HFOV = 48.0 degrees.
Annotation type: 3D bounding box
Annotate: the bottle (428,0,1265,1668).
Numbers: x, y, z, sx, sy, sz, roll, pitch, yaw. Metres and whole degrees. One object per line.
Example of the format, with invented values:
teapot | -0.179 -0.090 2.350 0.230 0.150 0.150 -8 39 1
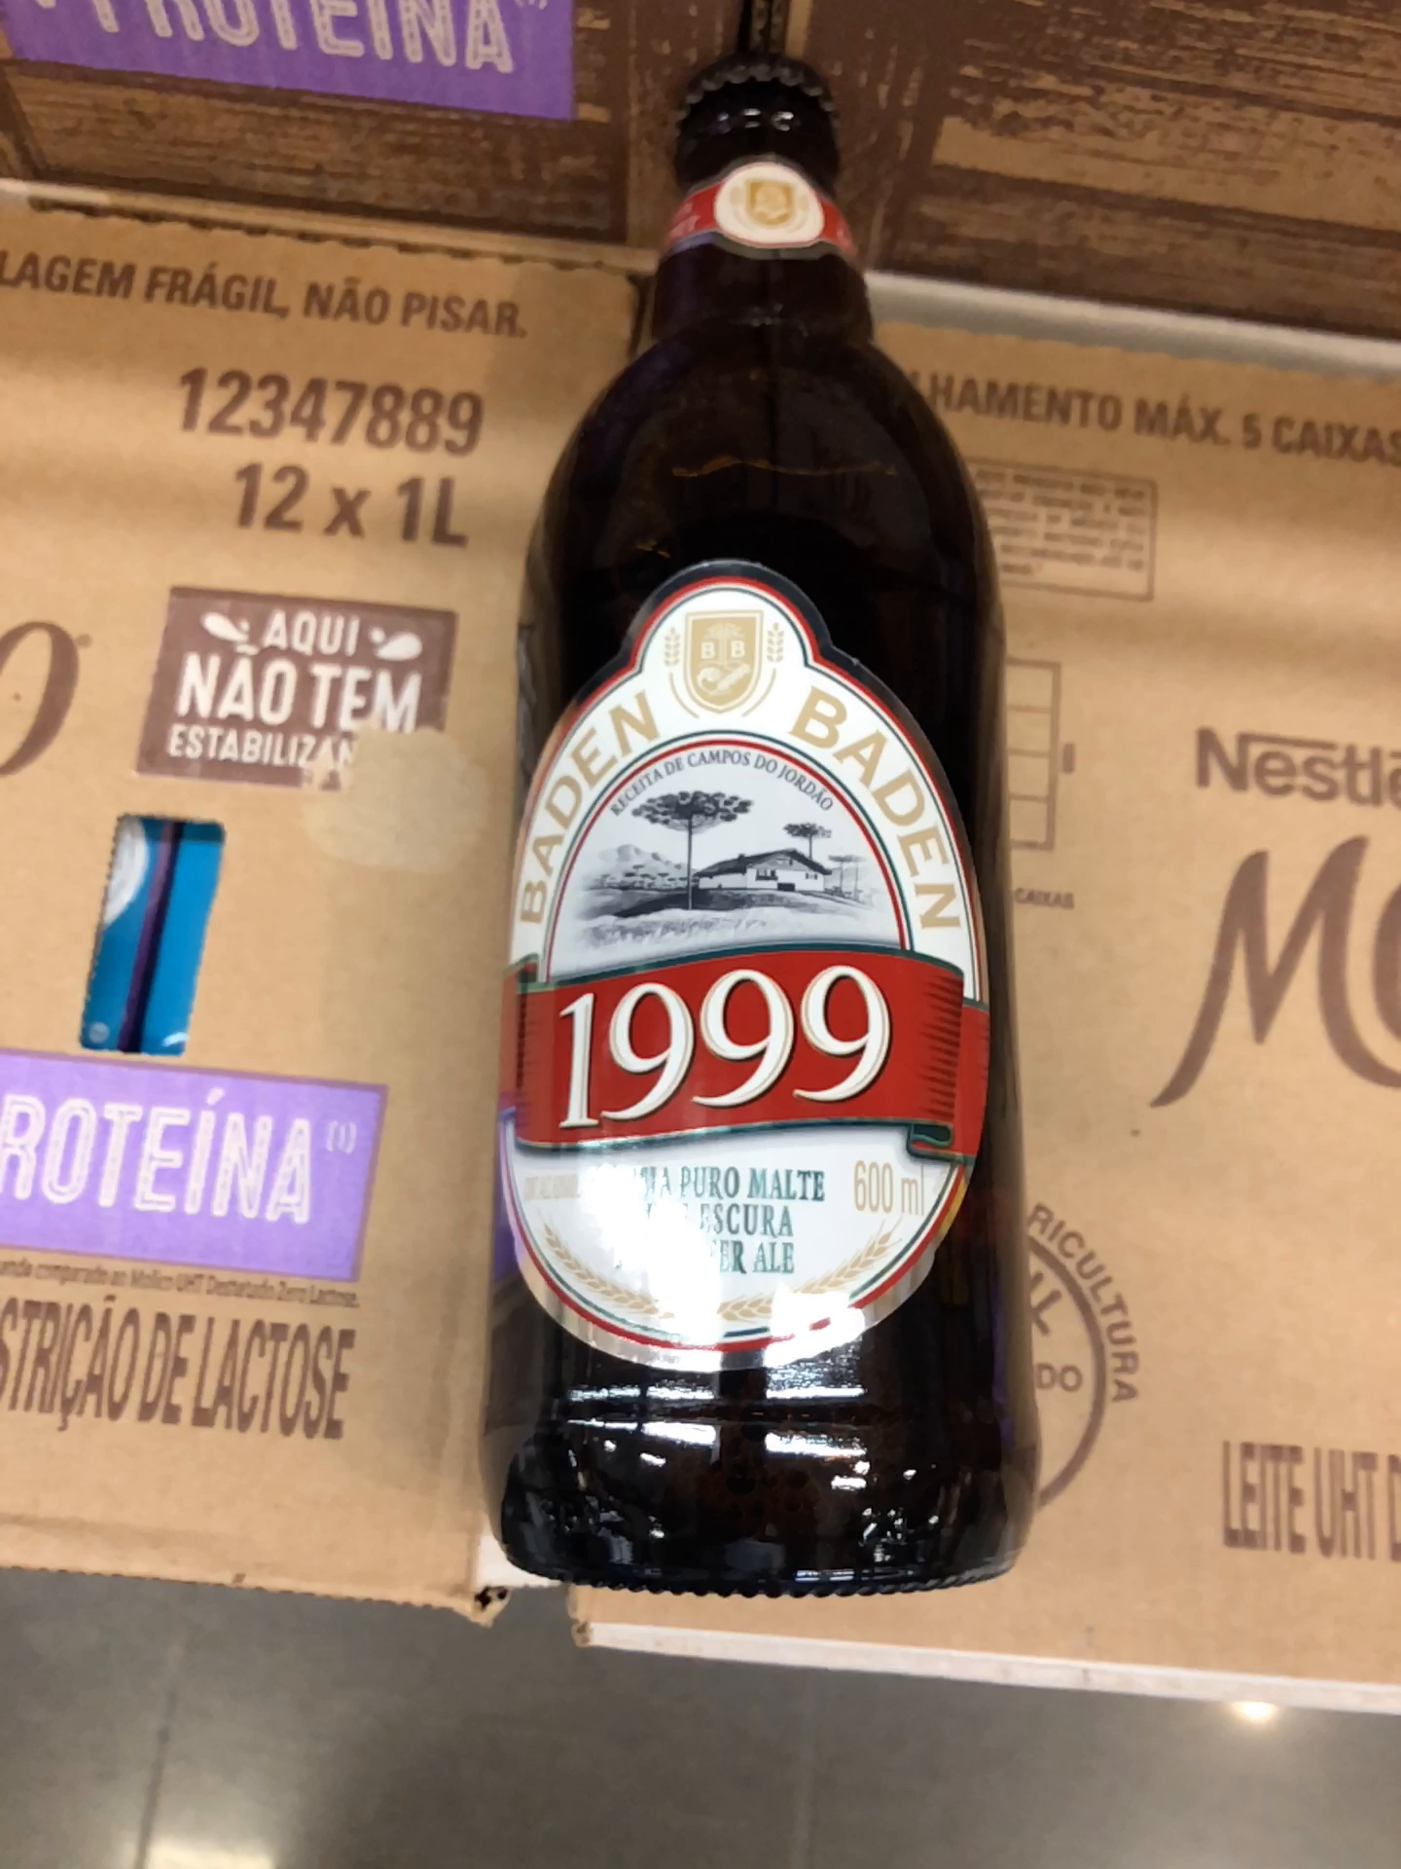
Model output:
bottle | 0.012 -0.043 0.256 0.090 0.100 0.280 0 73 -3
